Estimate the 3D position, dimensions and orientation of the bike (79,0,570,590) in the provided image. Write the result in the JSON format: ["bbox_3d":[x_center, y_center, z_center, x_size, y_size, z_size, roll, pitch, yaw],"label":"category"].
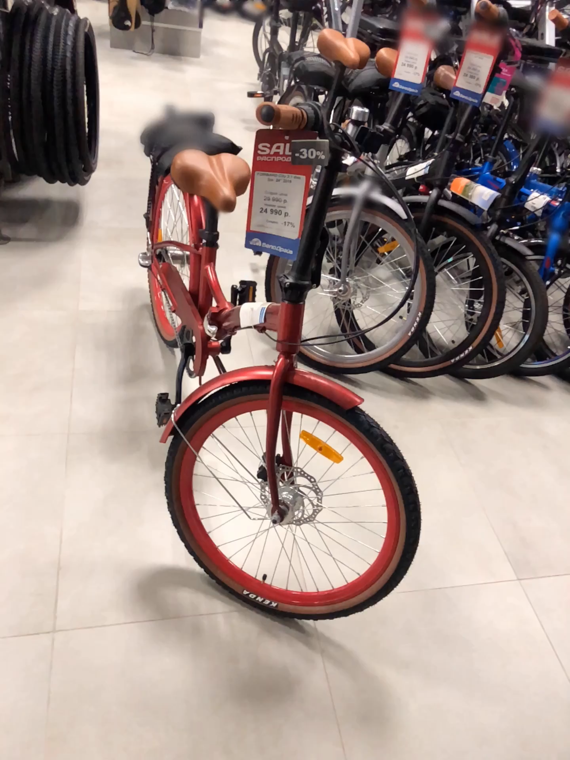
[{"bbox_3d":[-0.041,-0.392,1.674,0.517,1.111,1.498,-14,43,-28],"label":"bike"}]
